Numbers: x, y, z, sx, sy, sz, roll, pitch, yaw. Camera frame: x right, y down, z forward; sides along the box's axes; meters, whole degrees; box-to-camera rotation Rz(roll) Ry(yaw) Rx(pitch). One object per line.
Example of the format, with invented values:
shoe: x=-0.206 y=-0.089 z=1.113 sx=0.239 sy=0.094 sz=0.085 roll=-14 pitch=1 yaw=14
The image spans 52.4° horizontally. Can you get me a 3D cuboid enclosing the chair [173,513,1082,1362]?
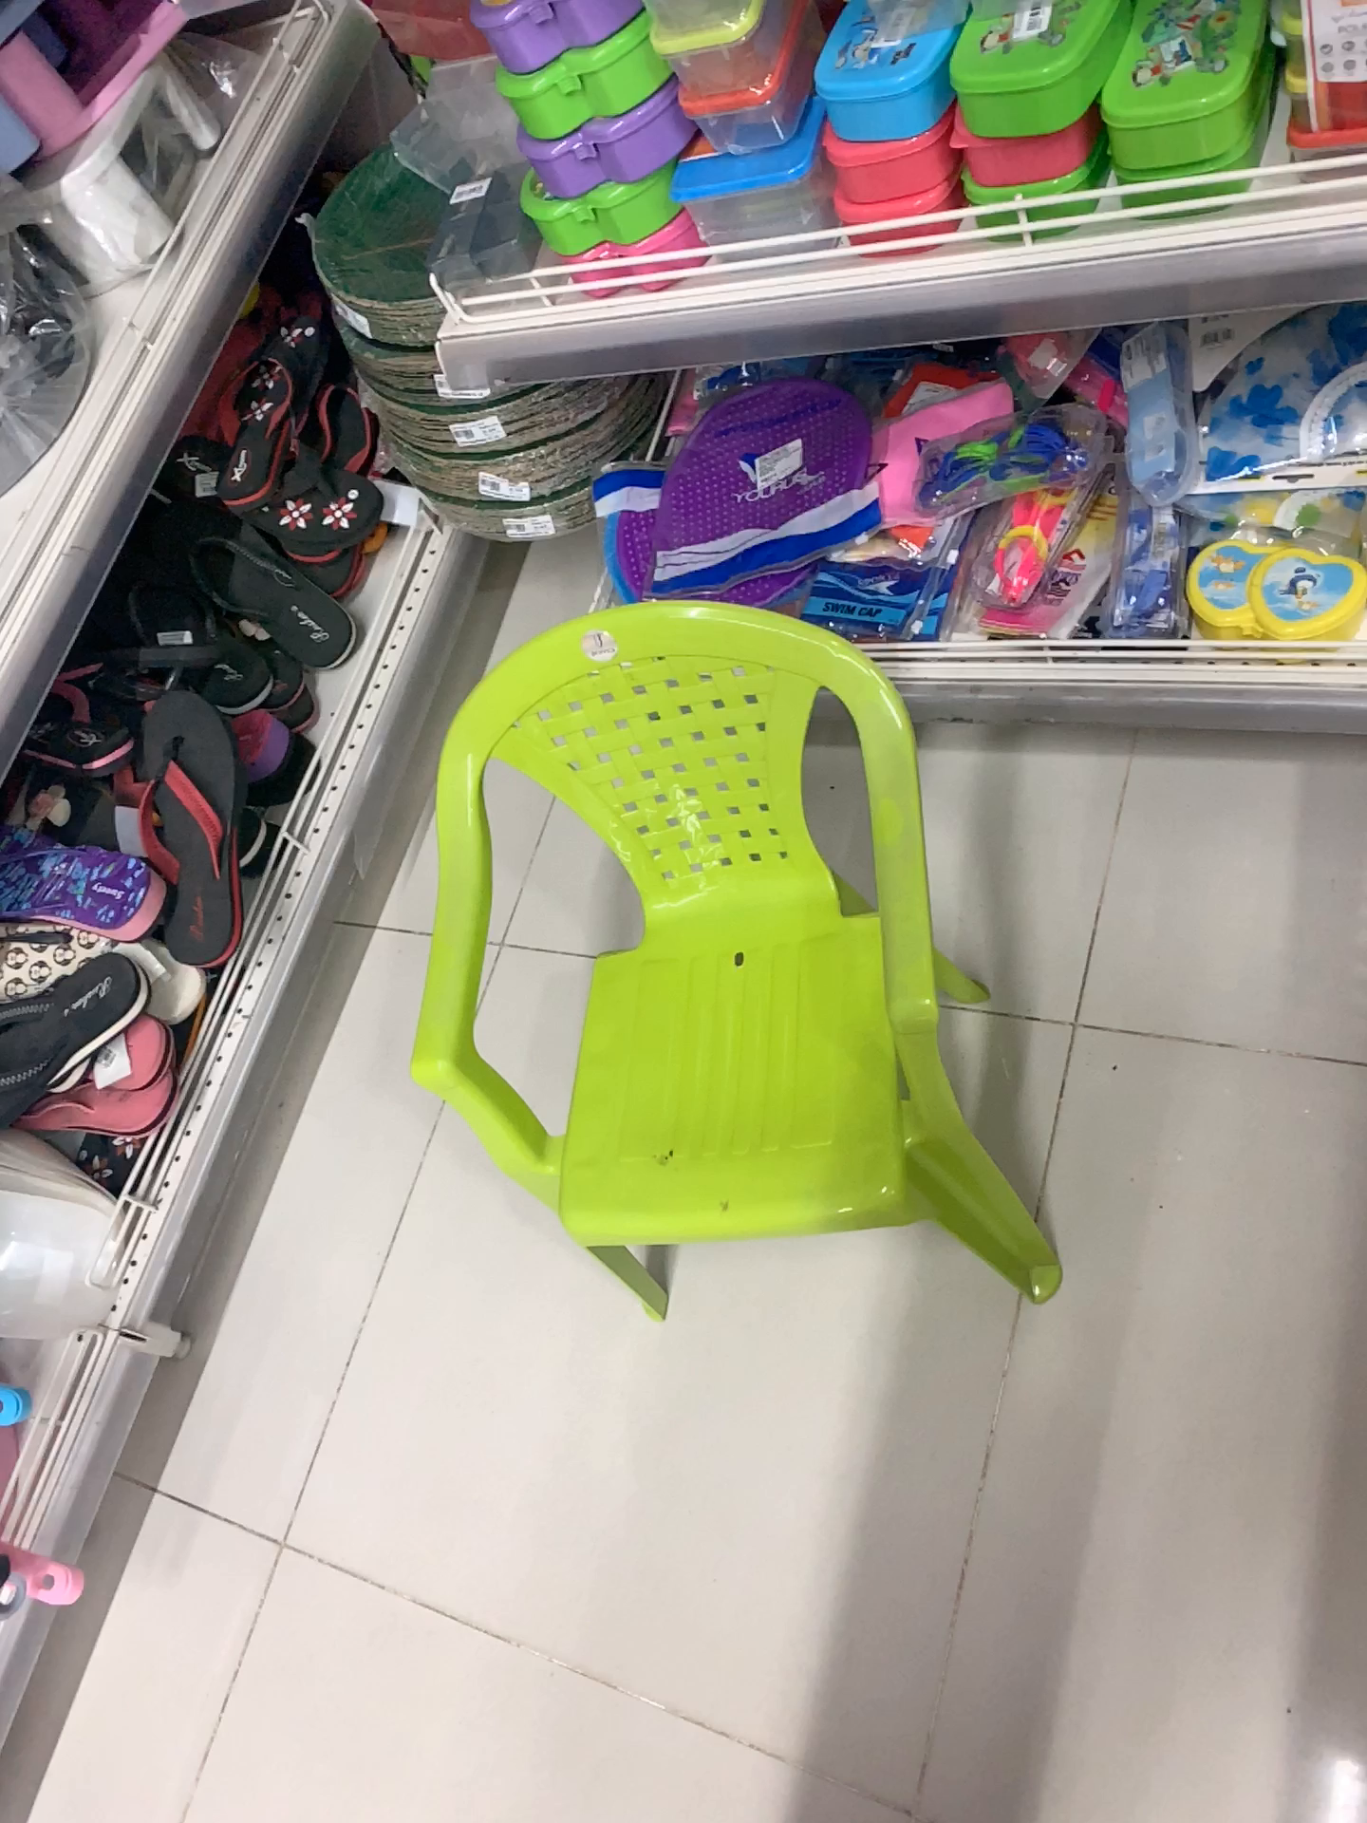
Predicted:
chair: x=0.014 y=0.074 z=0.926 sx=0.391 sy=0.468 sz=0.360 roll=-8 pitch=61 yaw=23
